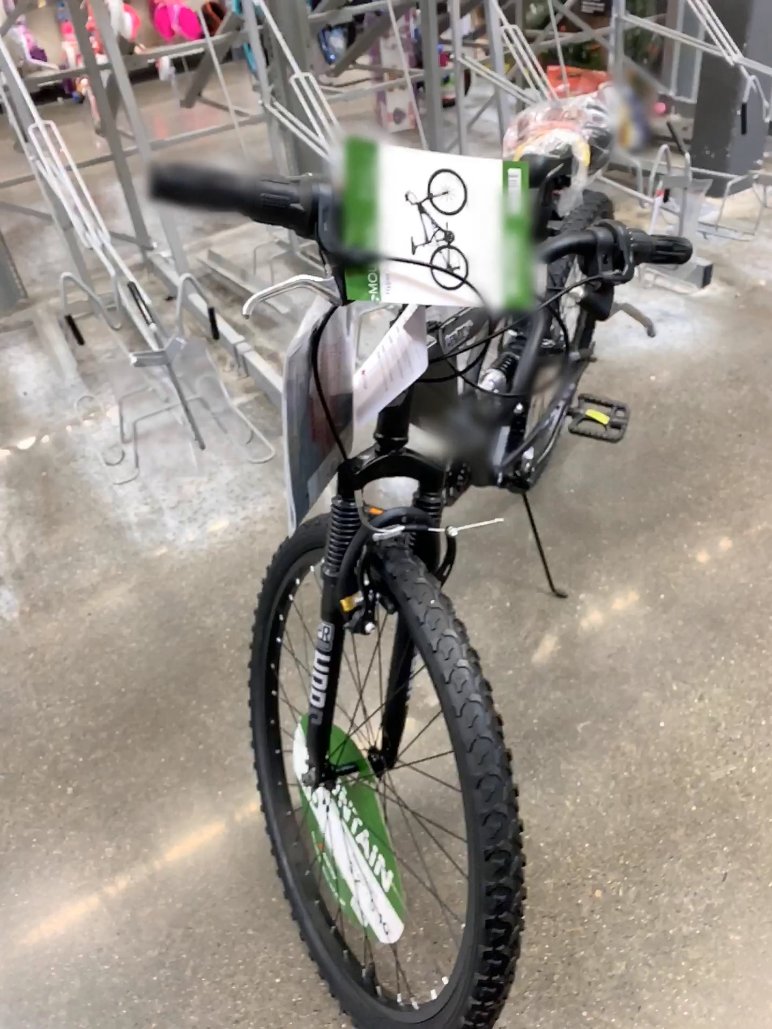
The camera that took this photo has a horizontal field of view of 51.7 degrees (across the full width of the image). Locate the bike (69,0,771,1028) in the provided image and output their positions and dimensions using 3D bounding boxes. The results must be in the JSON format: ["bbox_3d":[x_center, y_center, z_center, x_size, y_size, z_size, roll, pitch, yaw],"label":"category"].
[{"bbox_3d":[0.375,-0.163,1.353,0.690,1.090,1.688,4,42,16],"label":"bike"}]
